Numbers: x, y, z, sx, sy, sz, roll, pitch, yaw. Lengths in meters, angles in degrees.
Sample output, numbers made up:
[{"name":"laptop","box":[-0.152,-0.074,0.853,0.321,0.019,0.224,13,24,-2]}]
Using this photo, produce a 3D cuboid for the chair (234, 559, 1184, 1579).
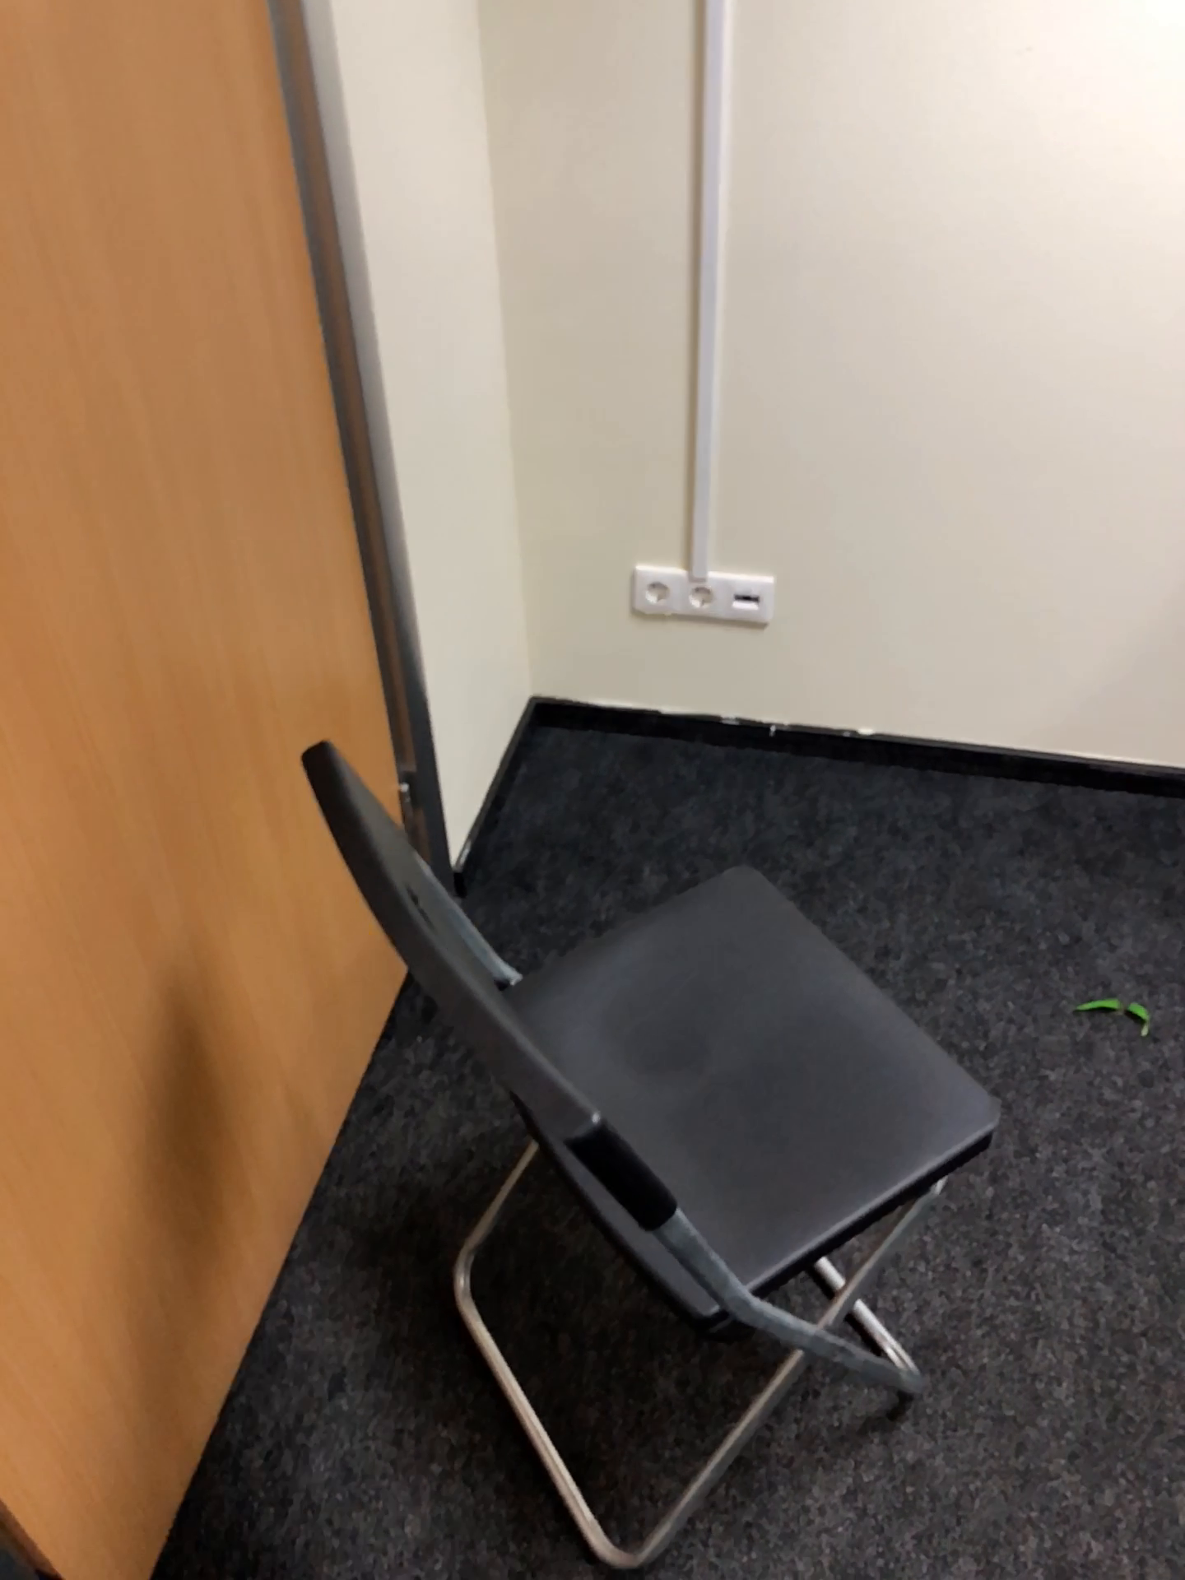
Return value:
[{"name":"chair","box":[0.073,0.287,1.140,0.481,0.726,0.482,-23,43,-23]}]
